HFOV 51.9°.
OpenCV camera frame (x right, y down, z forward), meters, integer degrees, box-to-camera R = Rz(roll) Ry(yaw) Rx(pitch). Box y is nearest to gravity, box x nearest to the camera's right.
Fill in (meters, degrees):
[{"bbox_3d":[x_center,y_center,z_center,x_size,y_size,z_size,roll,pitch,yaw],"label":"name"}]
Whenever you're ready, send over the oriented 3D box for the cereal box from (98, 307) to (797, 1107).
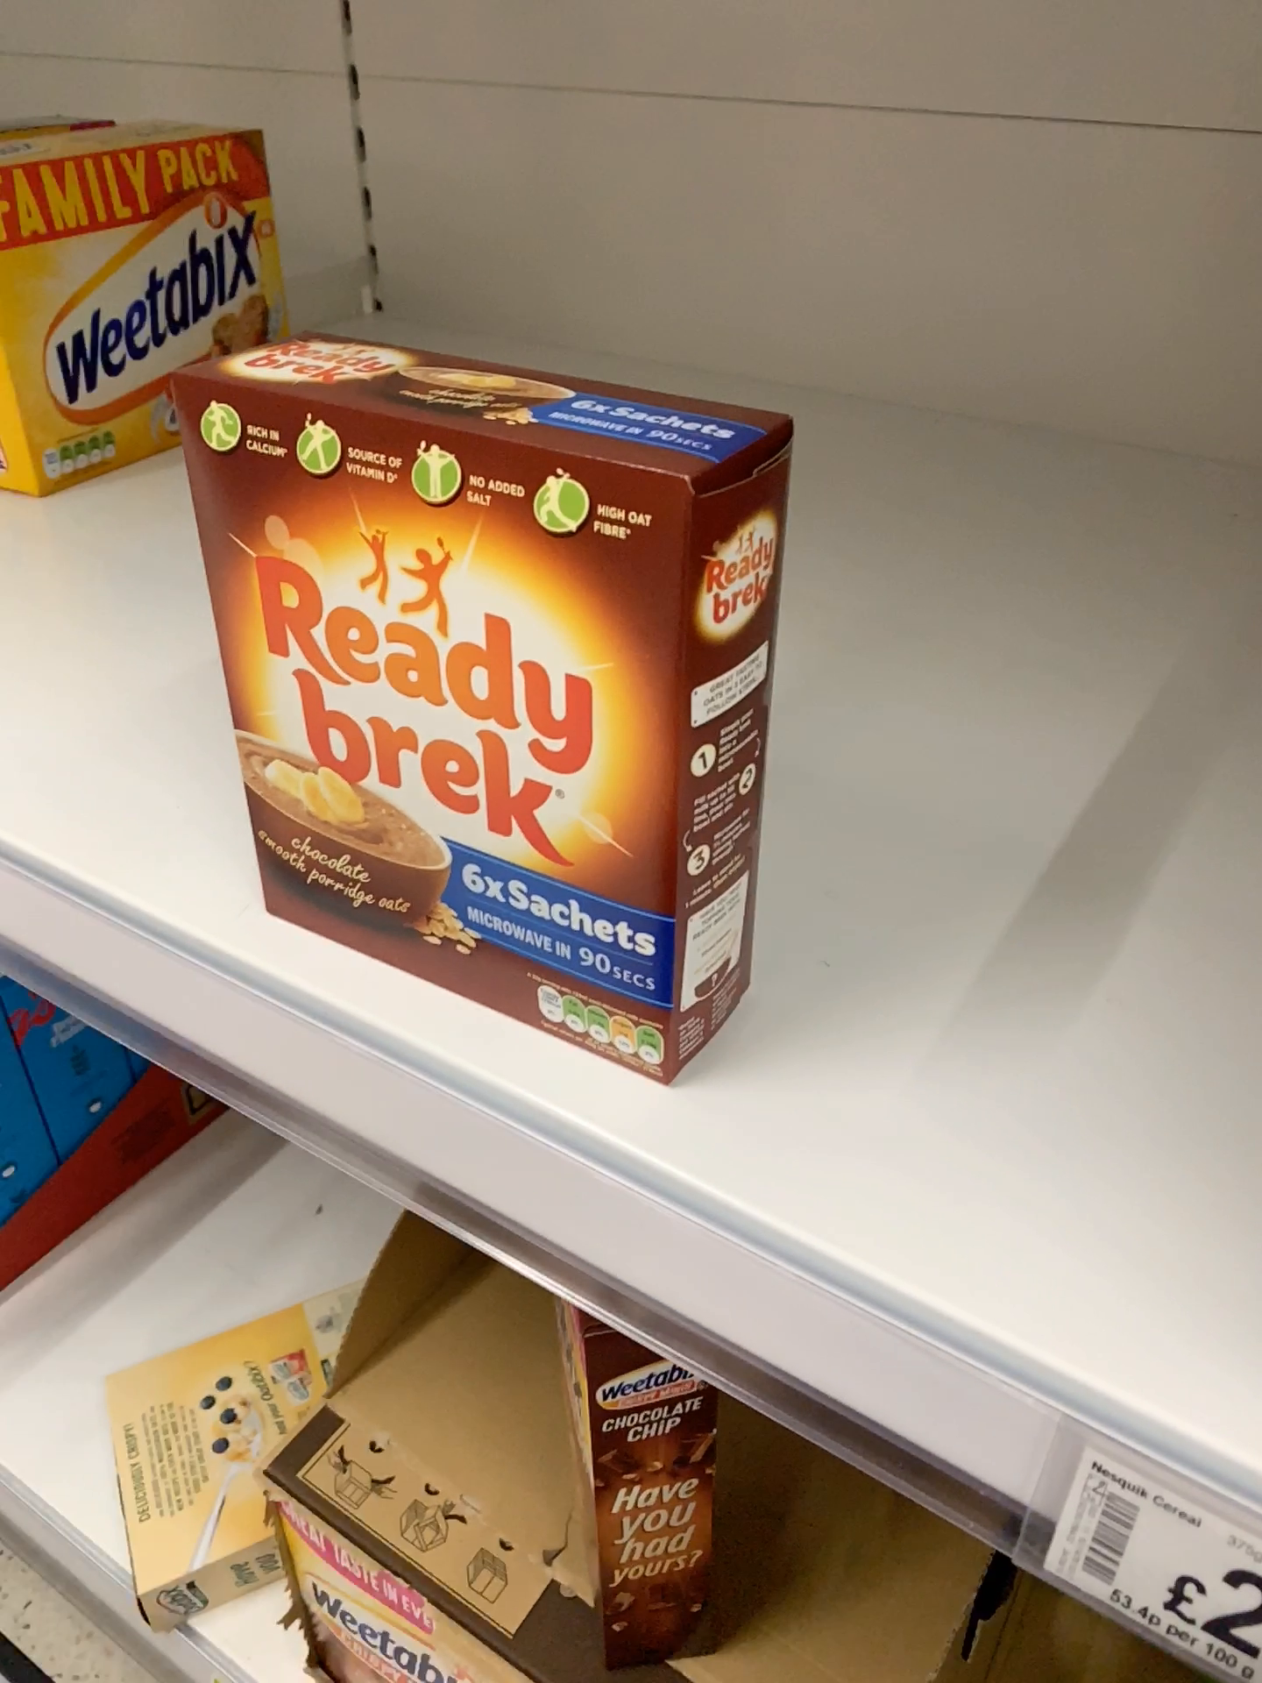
[{"bbox_3d":[-0.052,-0.043,0.385,0.180,0.188,0.060,19,38,26],"label":"cereal box"}]
